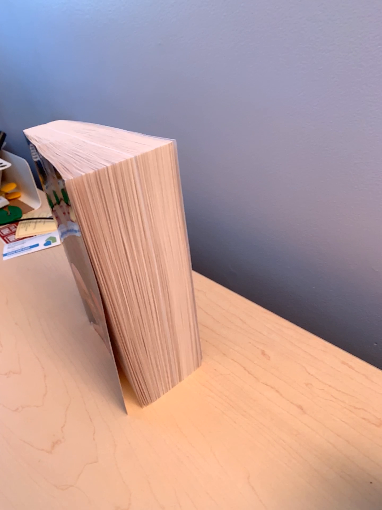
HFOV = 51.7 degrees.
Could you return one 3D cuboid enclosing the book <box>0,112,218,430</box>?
[{"bbox_3d":[-0.070,0.007,0.357,0.082,0.228,0.168,-27,37,-29],"label":"book"}]
